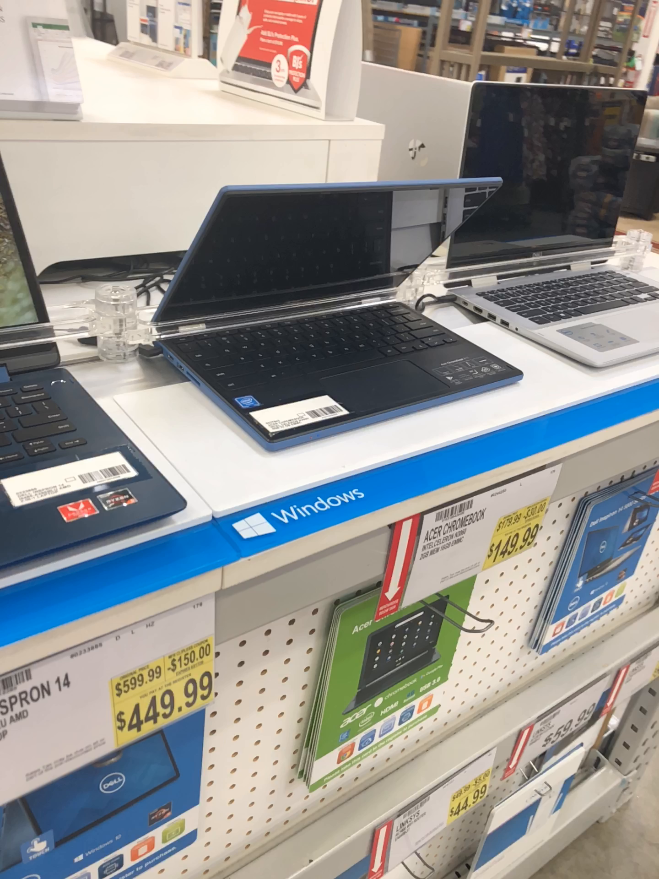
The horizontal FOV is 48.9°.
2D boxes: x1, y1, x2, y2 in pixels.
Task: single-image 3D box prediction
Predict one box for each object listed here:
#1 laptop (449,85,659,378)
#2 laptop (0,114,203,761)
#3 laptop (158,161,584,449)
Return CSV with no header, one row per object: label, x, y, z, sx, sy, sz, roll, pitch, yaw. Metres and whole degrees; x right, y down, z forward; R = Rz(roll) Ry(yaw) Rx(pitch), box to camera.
laptop,0.361,-0.270,0.853,0.341,0.218,0.256,-16,39,-32
laptop,-0.301,-0.073,0.437,0.305,0.169,0.368,-16,37,-34
laptop,0.031,-0.139,0.637,0.294,0.159,0.195,-15,38,-34
